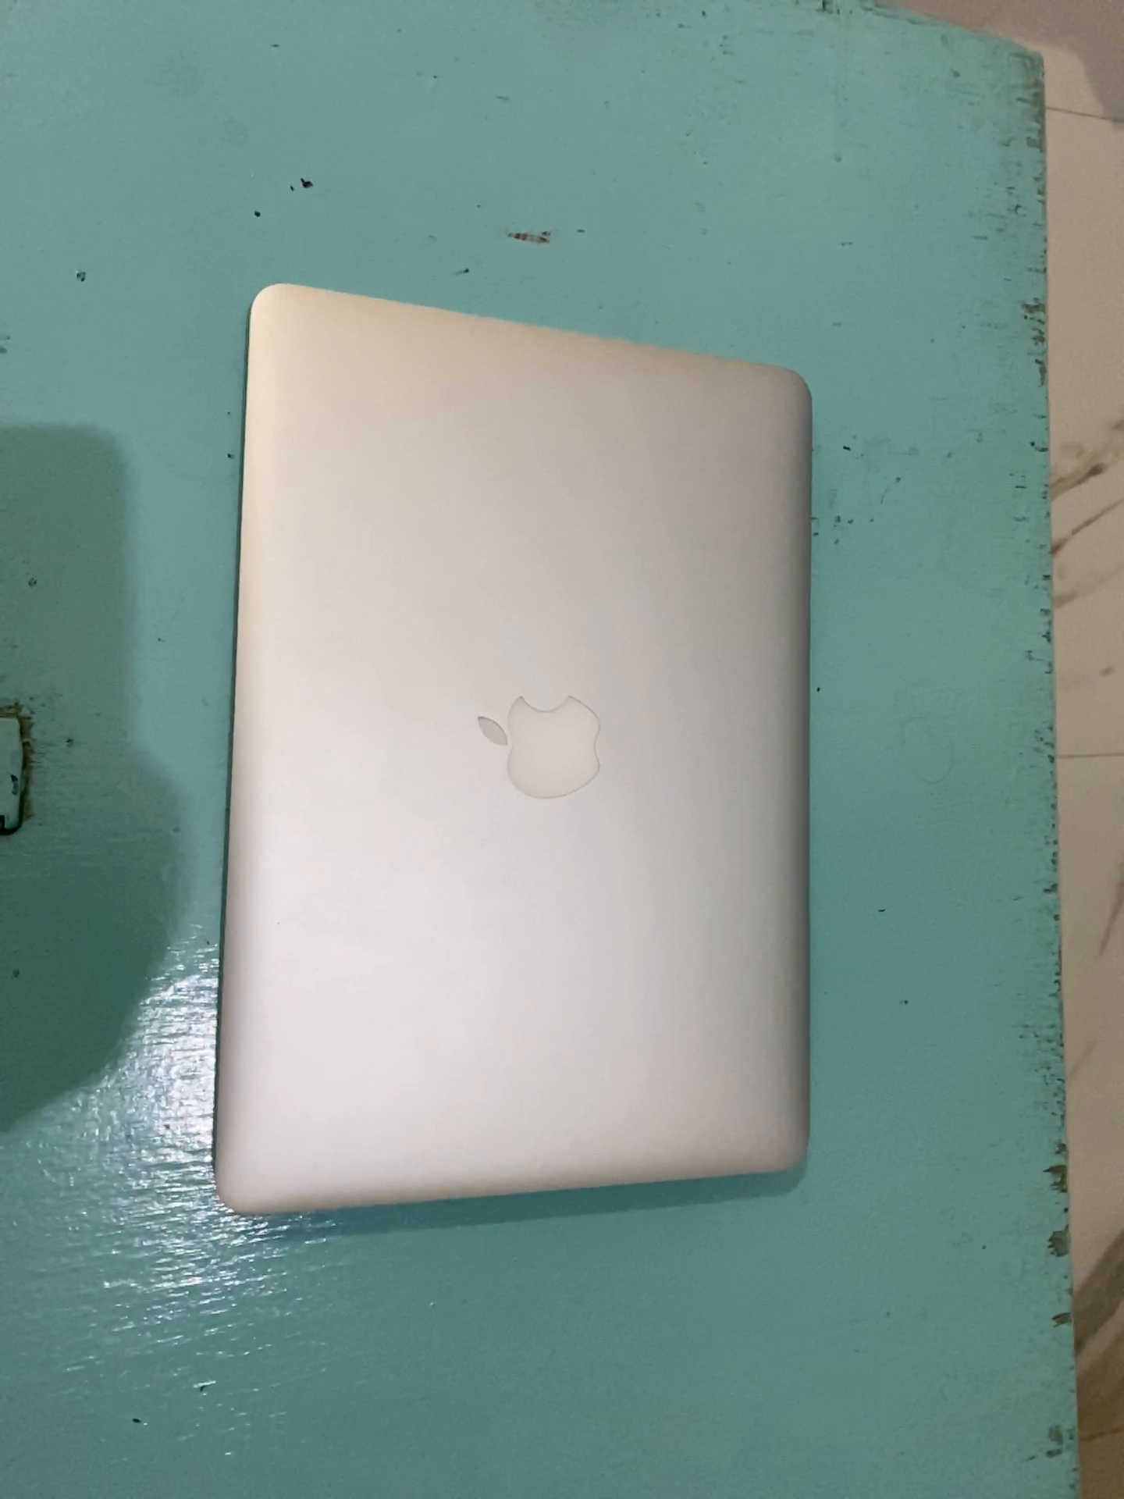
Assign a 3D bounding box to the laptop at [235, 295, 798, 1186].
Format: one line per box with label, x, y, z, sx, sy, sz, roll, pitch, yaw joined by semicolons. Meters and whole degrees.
laptop;-0.009;-0.002;0.415;0.209;0.007;0.291;1;87;-21
